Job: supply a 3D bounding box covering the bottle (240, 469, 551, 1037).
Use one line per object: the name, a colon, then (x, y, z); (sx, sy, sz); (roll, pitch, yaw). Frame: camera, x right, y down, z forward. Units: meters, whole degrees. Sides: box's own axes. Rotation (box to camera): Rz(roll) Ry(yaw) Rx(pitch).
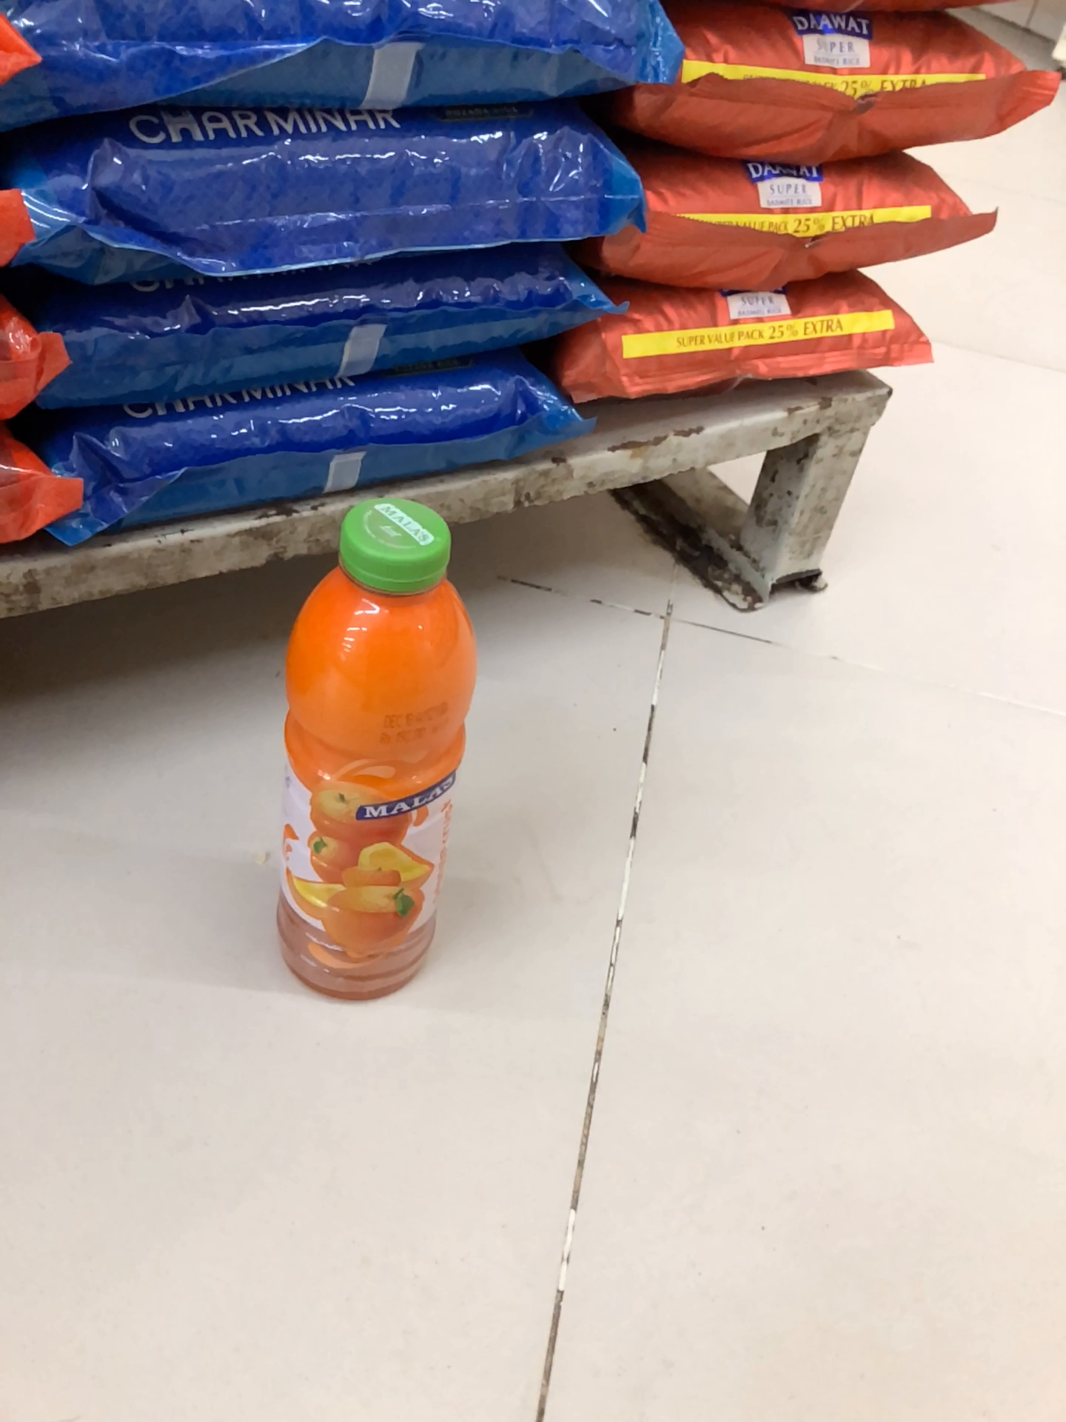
bottle: (-0.071, 0.026, 0.503); (0.090, 0.238, 0.090); (7, 43, -7)
